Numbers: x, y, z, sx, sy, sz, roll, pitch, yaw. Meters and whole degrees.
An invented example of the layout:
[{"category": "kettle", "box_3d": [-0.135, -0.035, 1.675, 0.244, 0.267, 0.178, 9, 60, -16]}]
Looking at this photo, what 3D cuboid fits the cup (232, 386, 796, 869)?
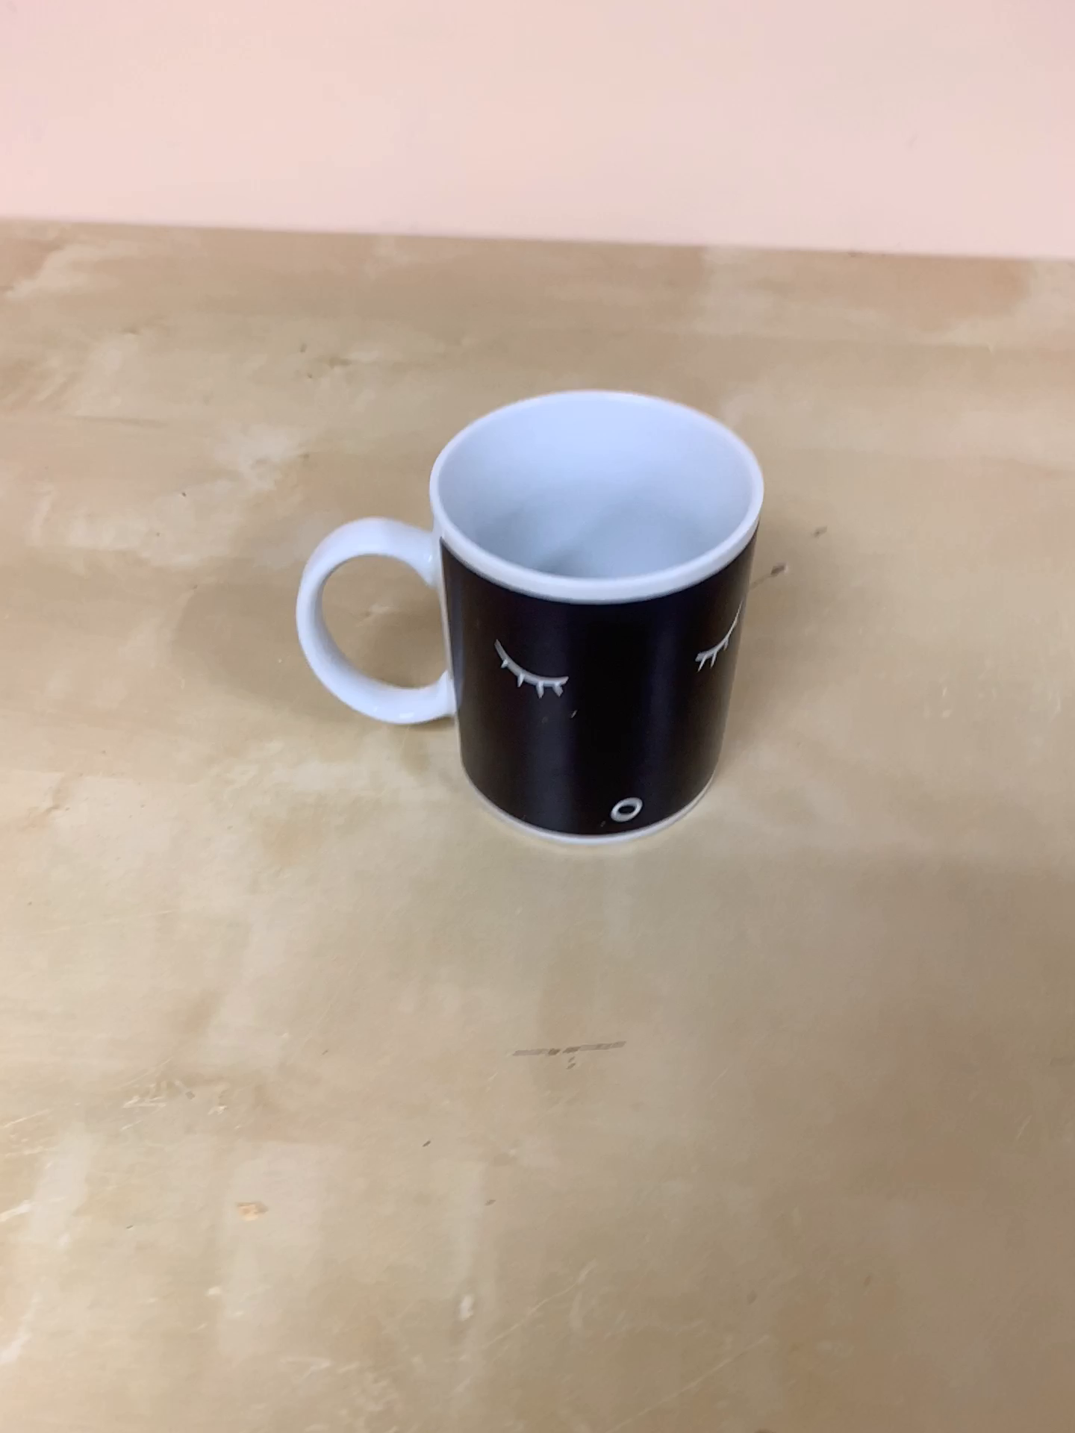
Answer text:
[{"category": "cup", "box_3d": [-0.005, -0.023, 0.304, 0.121, 0.101, 0.084, 0, 46, 0]}]
